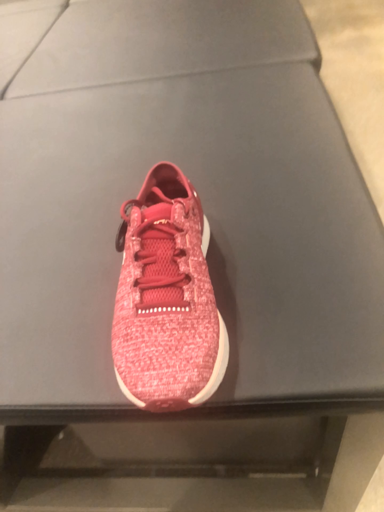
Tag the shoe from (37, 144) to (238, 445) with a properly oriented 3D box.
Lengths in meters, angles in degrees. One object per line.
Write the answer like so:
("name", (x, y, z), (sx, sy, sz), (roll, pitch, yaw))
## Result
("shoe", (-0.042, 0.017, 0.390), (0.121, 0.097, 0.254), (-9, 45, 2))
